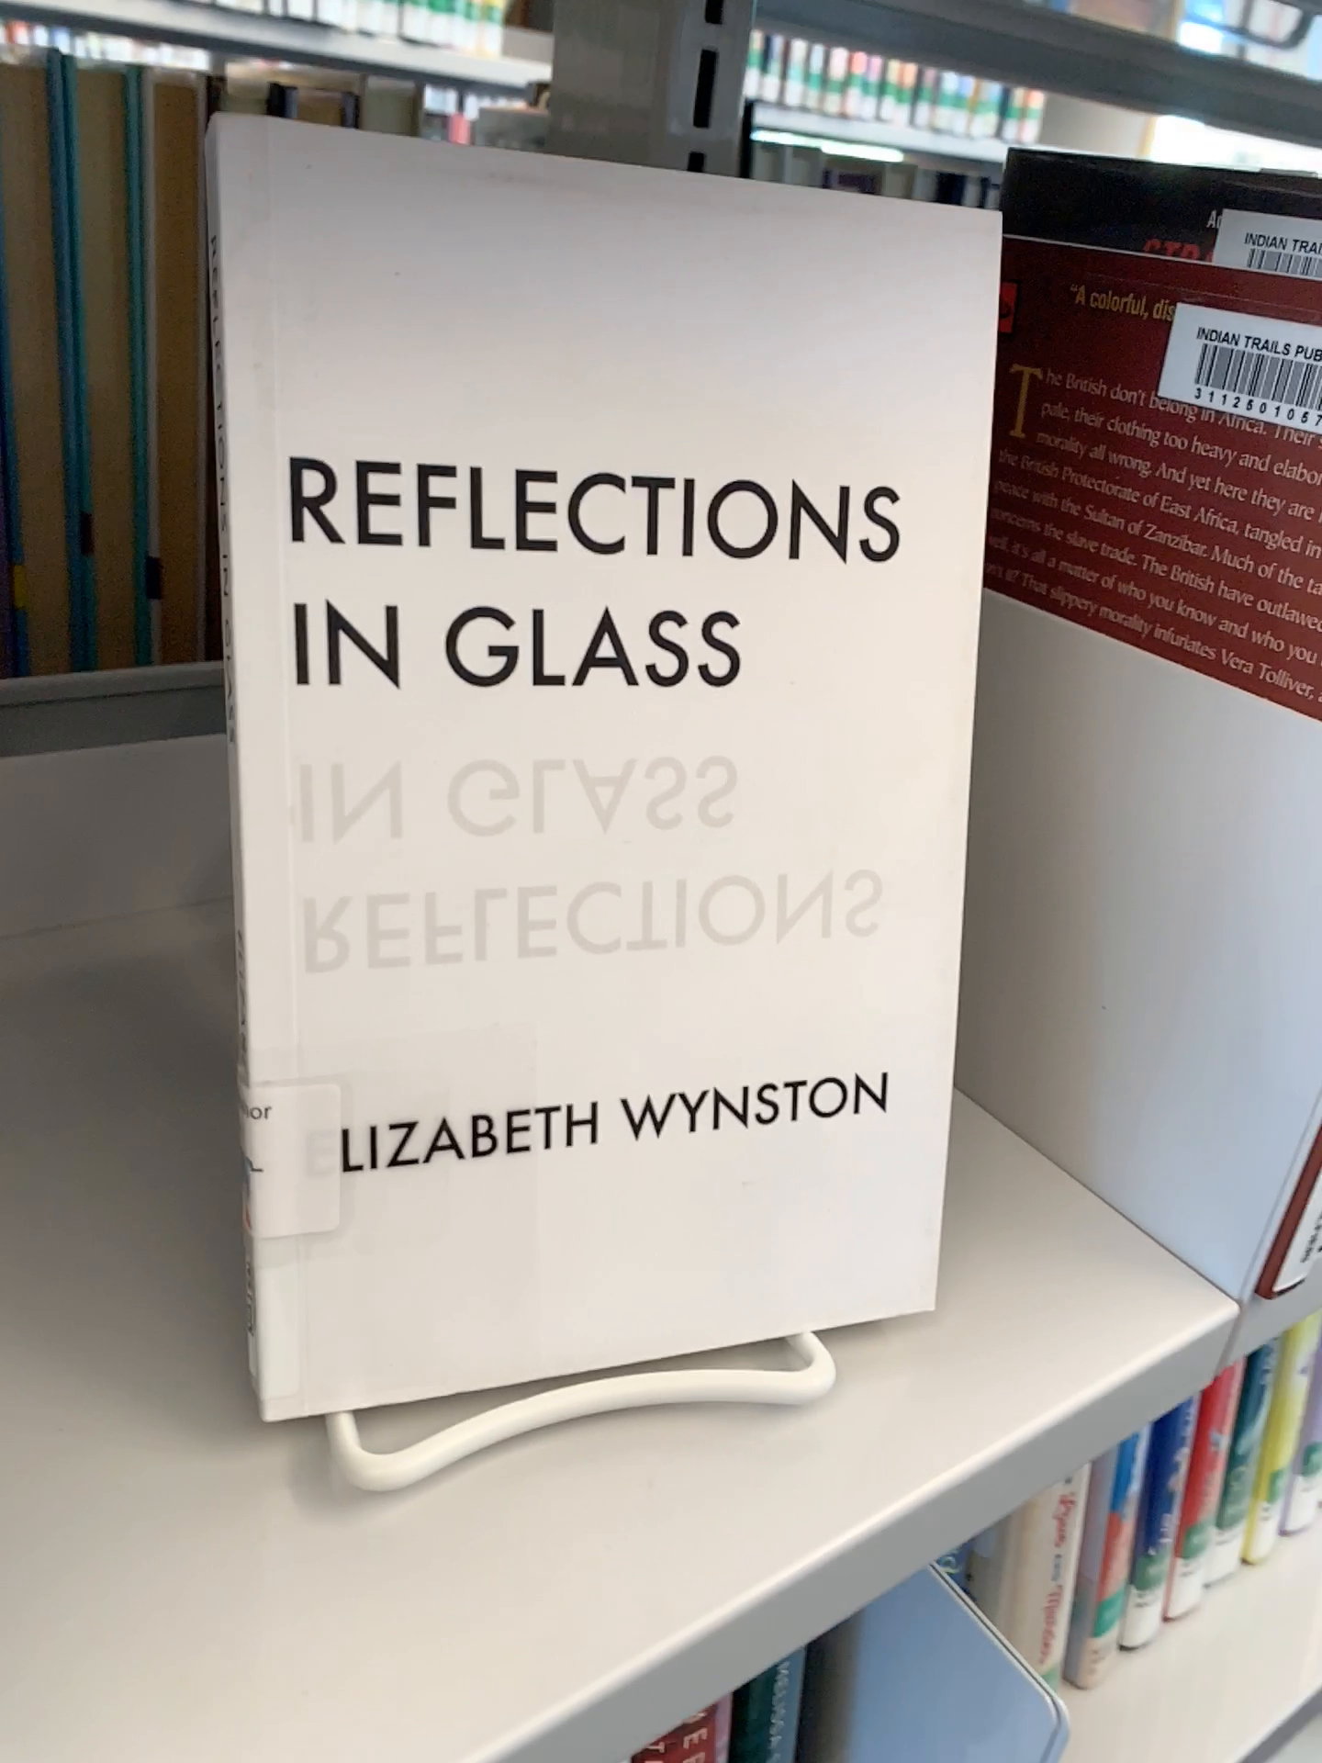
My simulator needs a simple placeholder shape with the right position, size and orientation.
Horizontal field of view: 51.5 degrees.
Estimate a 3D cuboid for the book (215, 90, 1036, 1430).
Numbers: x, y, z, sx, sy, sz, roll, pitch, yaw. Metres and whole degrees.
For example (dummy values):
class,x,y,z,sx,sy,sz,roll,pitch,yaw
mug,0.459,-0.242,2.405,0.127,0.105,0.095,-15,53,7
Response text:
class,x,y,z,sx,sy,sz,roll,pitch,yaw
book,-0.004,-0.013,0.231,0.127,0.196,0.018,-3,12,-20
